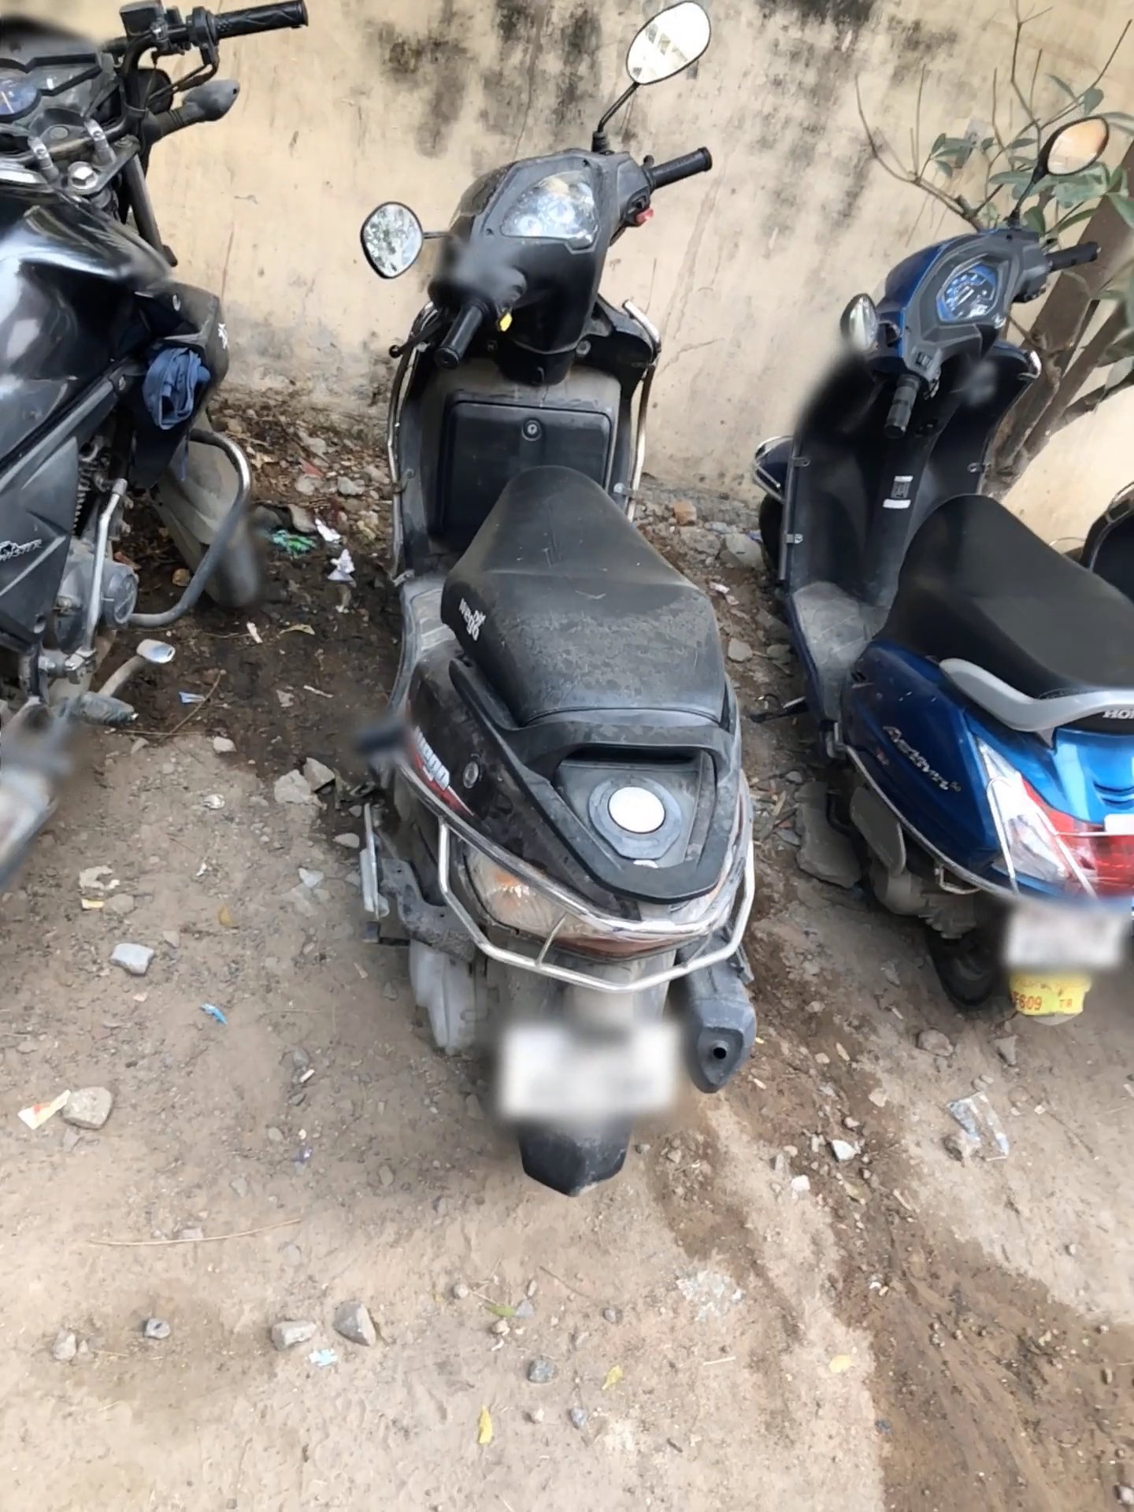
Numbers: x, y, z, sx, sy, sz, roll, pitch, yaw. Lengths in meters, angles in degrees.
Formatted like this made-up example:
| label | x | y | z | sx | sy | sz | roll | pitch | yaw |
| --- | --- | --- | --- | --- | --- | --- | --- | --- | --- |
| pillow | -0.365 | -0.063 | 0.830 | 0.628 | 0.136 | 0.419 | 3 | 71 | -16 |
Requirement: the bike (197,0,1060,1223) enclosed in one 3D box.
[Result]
| label | x | y | z | sx | sy | sz | roll | pitch | yaw |
| --- | --- | --- | --- | --- | --- | --- | --- | --- | --- |
| bike | -0.170 | -0.420 | 1.795 | 0.528 | 1.113 | 1.567 | 5 | 39 | -22 |
